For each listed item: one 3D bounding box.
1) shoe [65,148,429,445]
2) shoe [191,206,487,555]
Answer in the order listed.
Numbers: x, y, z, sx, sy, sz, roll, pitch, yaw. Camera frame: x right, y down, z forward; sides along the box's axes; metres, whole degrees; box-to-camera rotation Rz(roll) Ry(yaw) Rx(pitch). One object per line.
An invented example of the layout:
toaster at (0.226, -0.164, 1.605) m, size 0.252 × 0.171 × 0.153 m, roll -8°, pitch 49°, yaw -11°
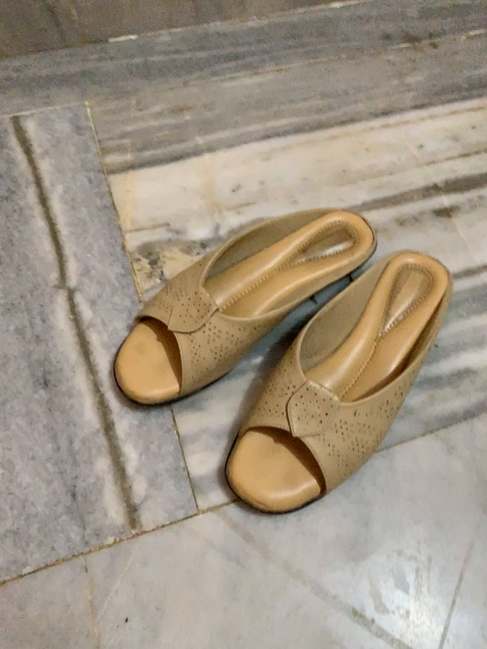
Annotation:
shoe at (0.011, -0.032, 0.405) m, size 0.273 × 0.070 × 0.095 m, roll -34°, pitch 69°, yaw -19°
shoe at (0.084, 0.032, 0.383) m, size 0.095 × 0.070 × 0.259 m, roll 37°, pitch 66°, yaw 15°
